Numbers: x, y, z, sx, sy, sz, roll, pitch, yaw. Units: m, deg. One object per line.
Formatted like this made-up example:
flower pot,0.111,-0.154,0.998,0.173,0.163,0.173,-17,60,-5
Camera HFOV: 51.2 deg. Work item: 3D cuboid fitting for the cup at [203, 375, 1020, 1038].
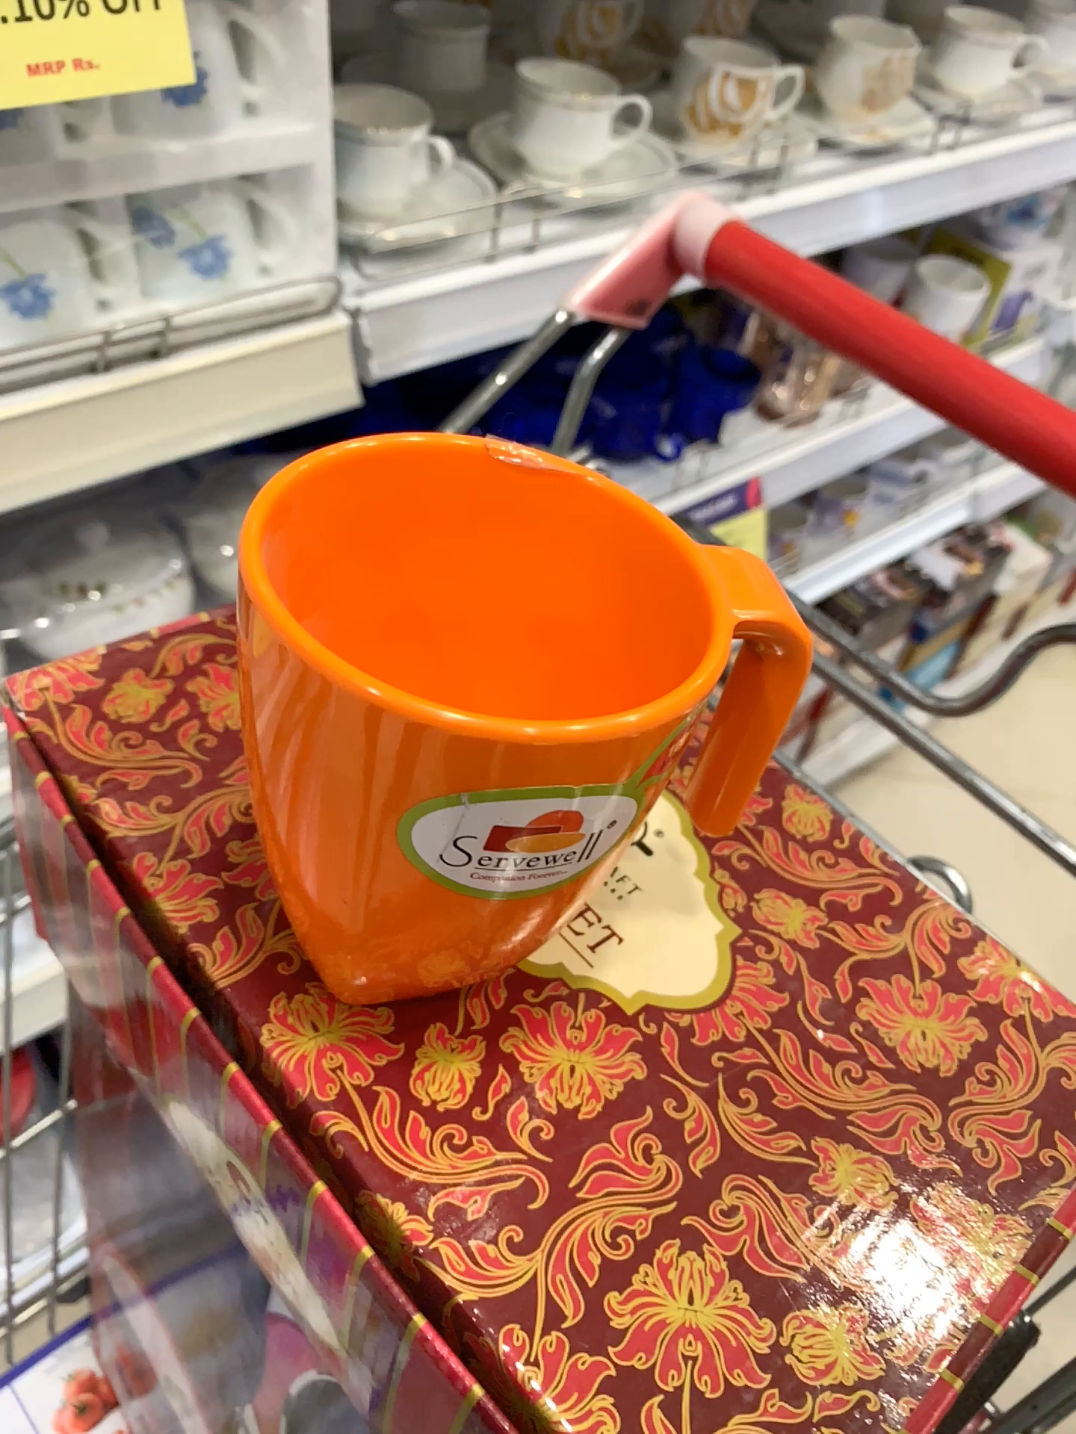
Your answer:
cup,0.002,-0.005,0.199,0.110,0.070,0.080,-3,47,-21
